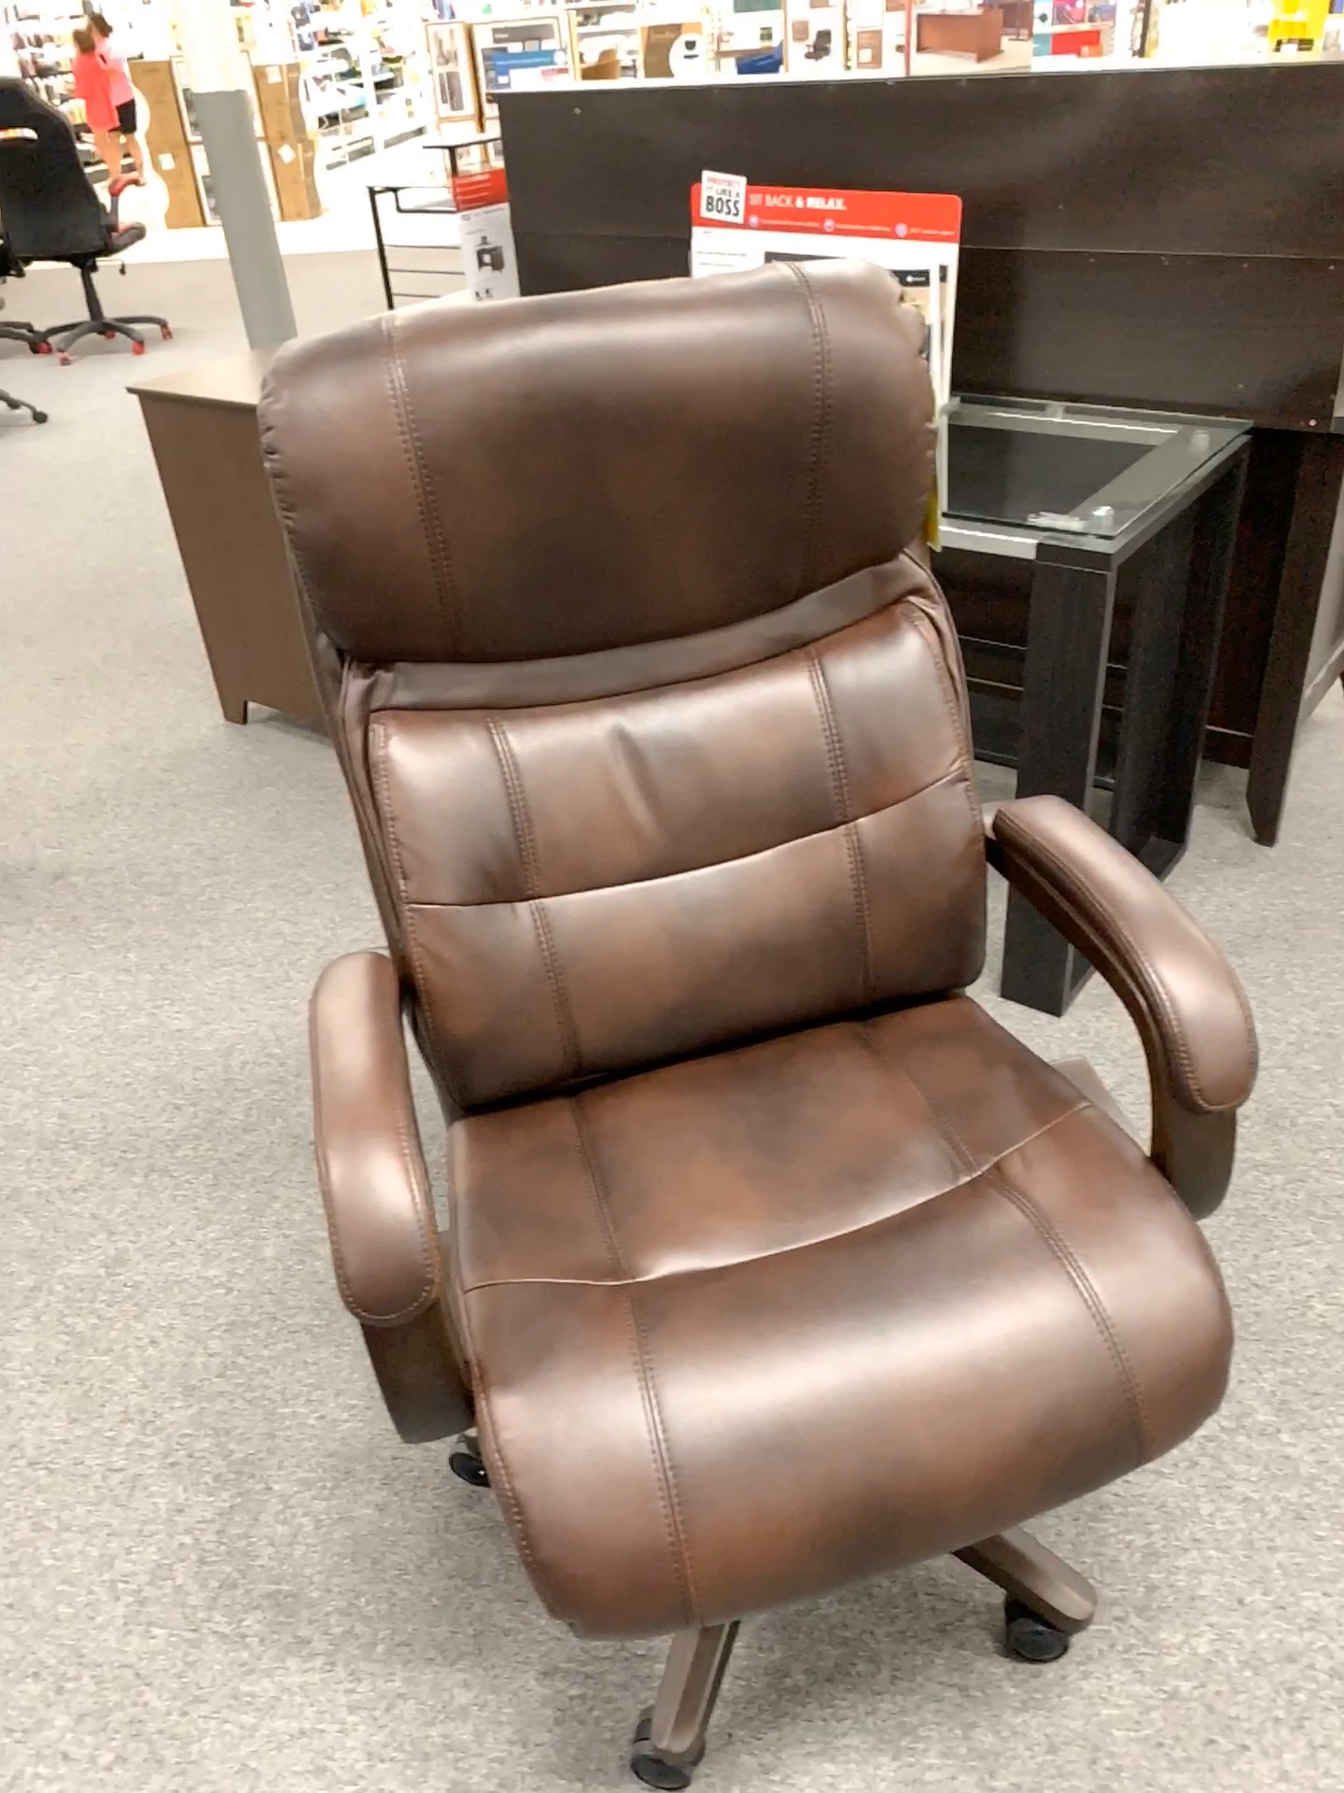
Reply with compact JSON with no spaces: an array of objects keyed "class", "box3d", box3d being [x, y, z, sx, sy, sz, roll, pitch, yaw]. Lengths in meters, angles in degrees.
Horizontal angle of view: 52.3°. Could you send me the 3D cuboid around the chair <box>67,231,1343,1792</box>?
[{"class":"chair","box3d":[0.053,0.120,1.158,0.710,1.094,0.704,-12,34,-12]}]
